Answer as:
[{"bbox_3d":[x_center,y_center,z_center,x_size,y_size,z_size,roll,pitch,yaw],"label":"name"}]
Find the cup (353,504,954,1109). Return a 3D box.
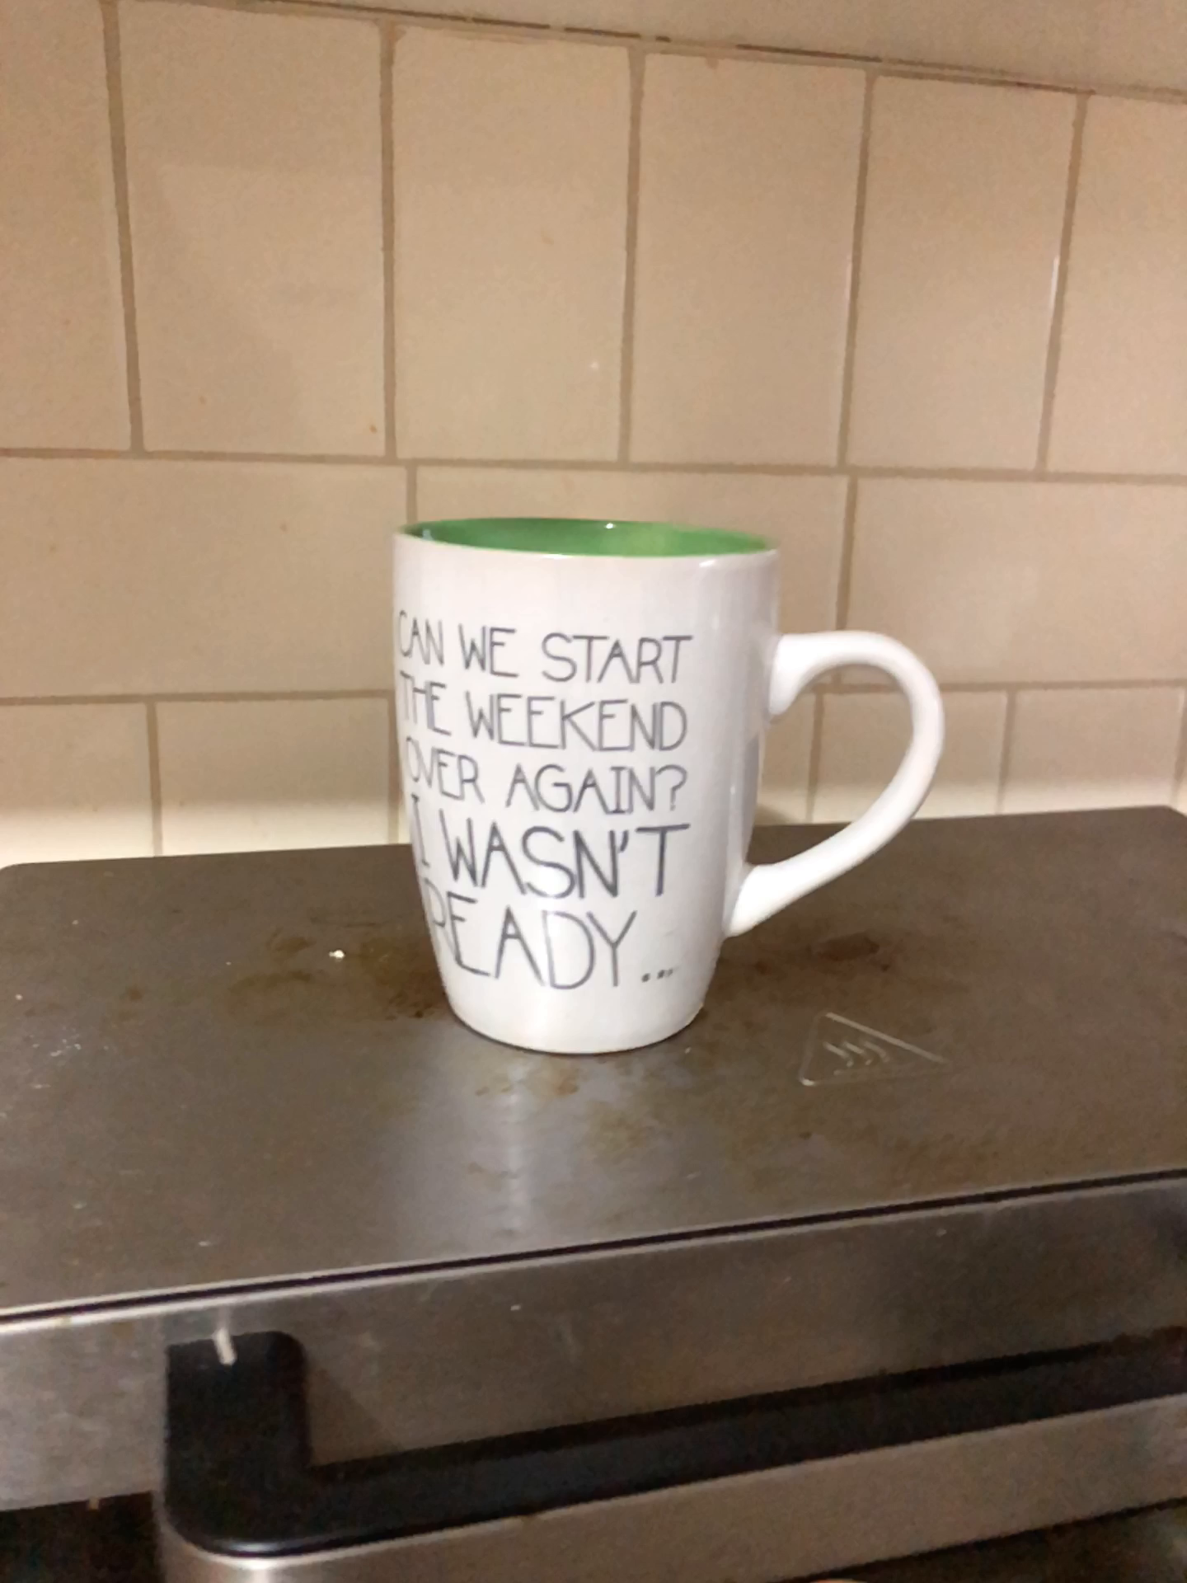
[{"bbox_3d":[0.013,-0.003,0.288,0.110,0.110,0.070,4,15,8],"label":"cup"}]
